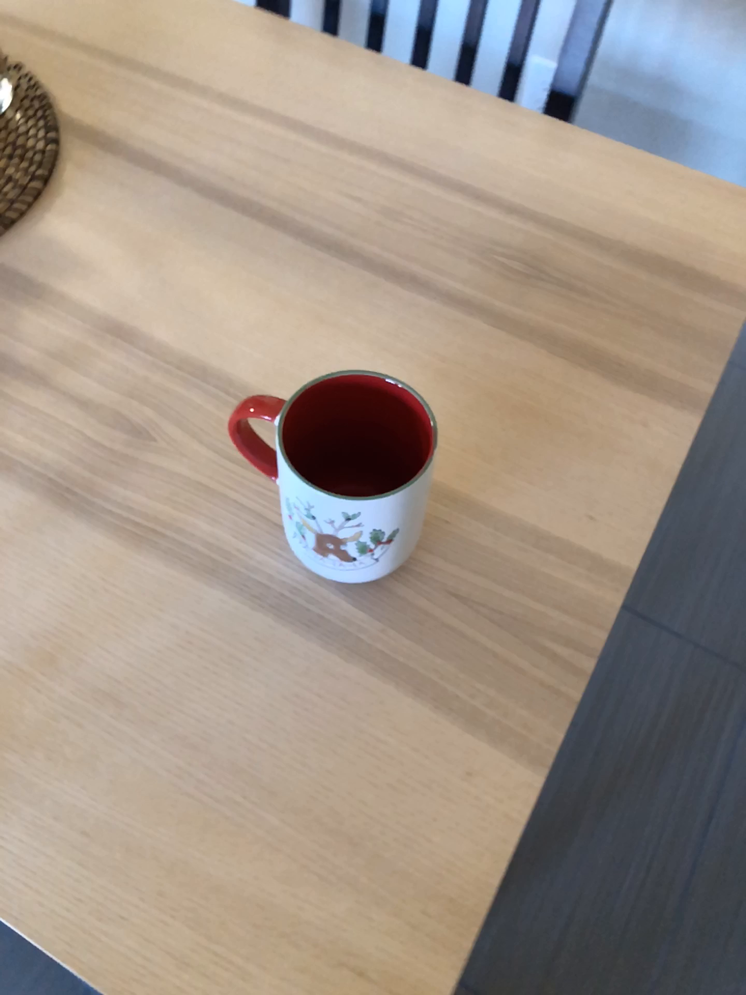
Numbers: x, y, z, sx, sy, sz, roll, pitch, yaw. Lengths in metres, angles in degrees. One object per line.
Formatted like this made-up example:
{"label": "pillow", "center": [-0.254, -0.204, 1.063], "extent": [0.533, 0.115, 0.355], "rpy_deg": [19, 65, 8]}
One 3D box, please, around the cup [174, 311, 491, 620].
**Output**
{"label": "cup", "center": [-0.022, -0.018, 0.483], "extent": [0.140, 0.100, 0.100], "rpy_deg": [21, 58, 10]}
